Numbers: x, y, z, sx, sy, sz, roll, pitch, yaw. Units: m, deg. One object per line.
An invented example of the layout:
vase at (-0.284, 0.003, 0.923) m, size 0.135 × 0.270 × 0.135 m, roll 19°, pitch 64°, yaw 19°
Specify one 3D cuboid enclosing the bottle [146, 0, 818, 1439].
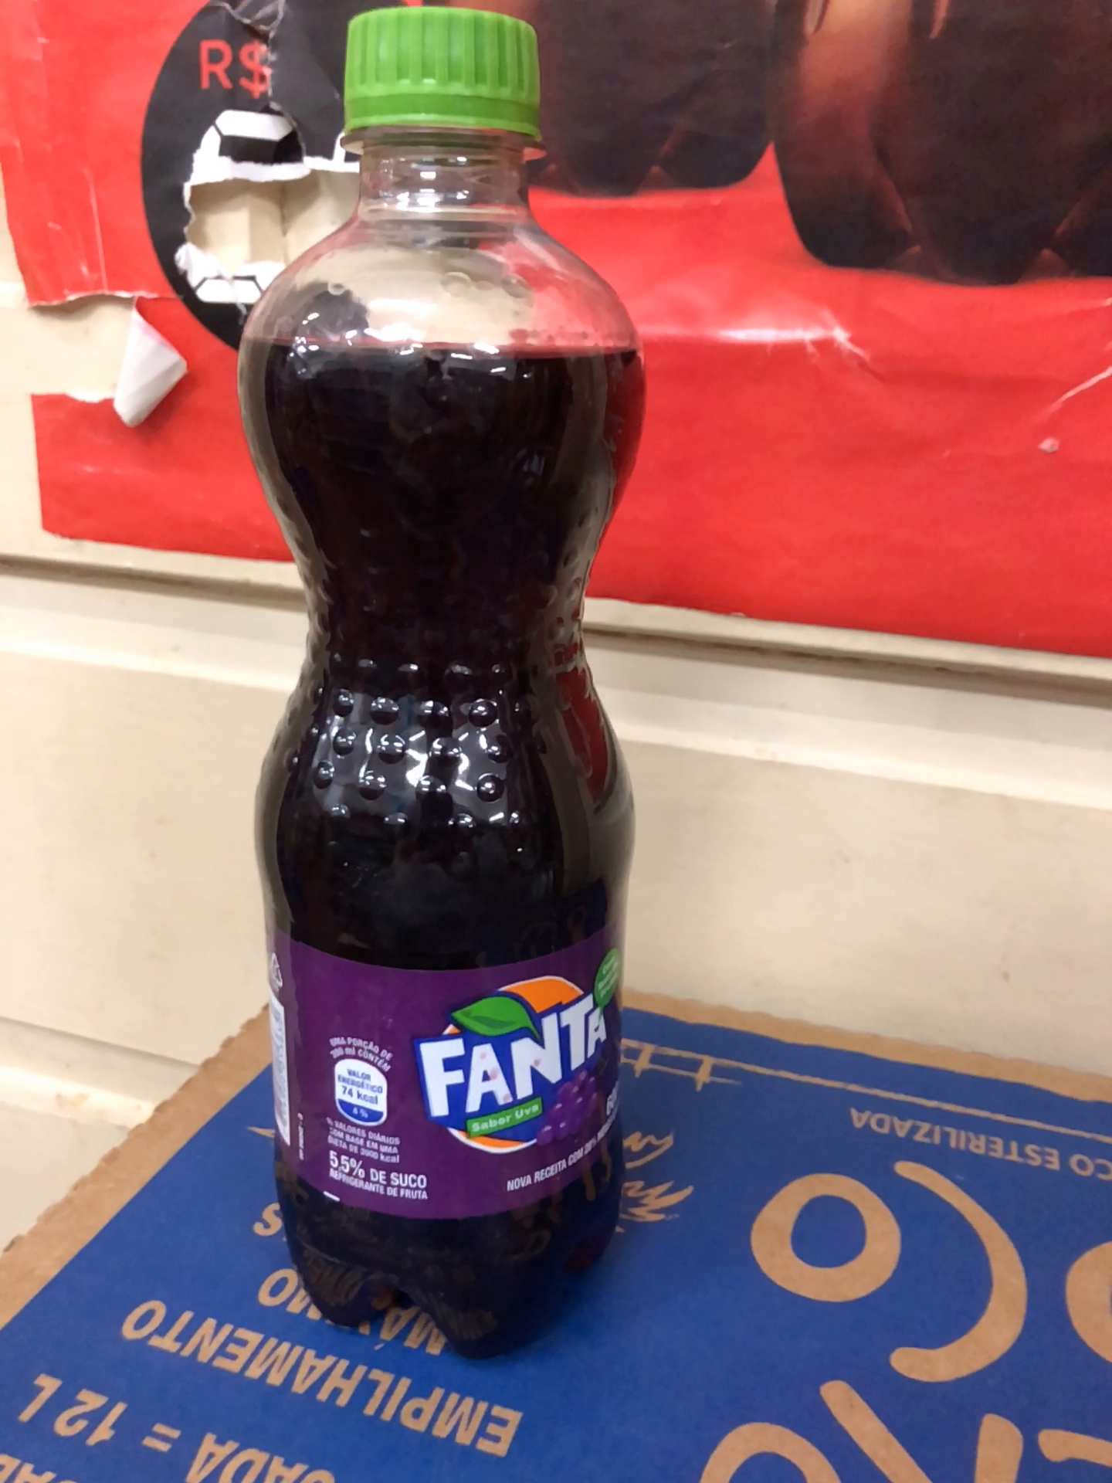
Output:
bottle at (-0.018, -0.006, 0.225) m, size 0.080 × 0.229 × 0.070 m, roll -8°, pitch 20°, yaw -30°
